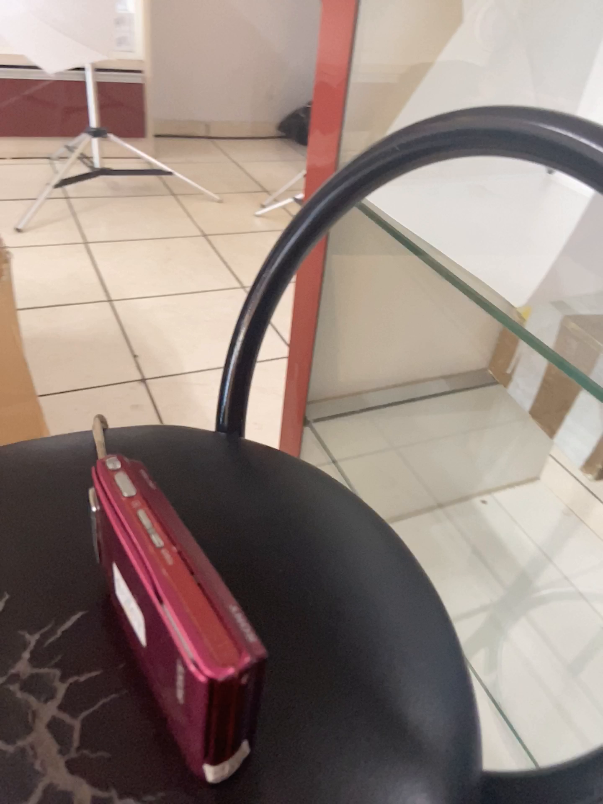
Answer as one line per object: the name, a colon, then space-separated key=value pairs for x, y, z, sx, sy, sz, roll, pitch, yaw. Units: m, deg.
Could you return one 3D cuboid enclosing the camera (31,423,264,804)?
camera: x=-0.053 y=0.063 z=0.200 sx=0.030 sy=0.060 sz=0.100 roll=-17 pitch=43 yaw=-30
